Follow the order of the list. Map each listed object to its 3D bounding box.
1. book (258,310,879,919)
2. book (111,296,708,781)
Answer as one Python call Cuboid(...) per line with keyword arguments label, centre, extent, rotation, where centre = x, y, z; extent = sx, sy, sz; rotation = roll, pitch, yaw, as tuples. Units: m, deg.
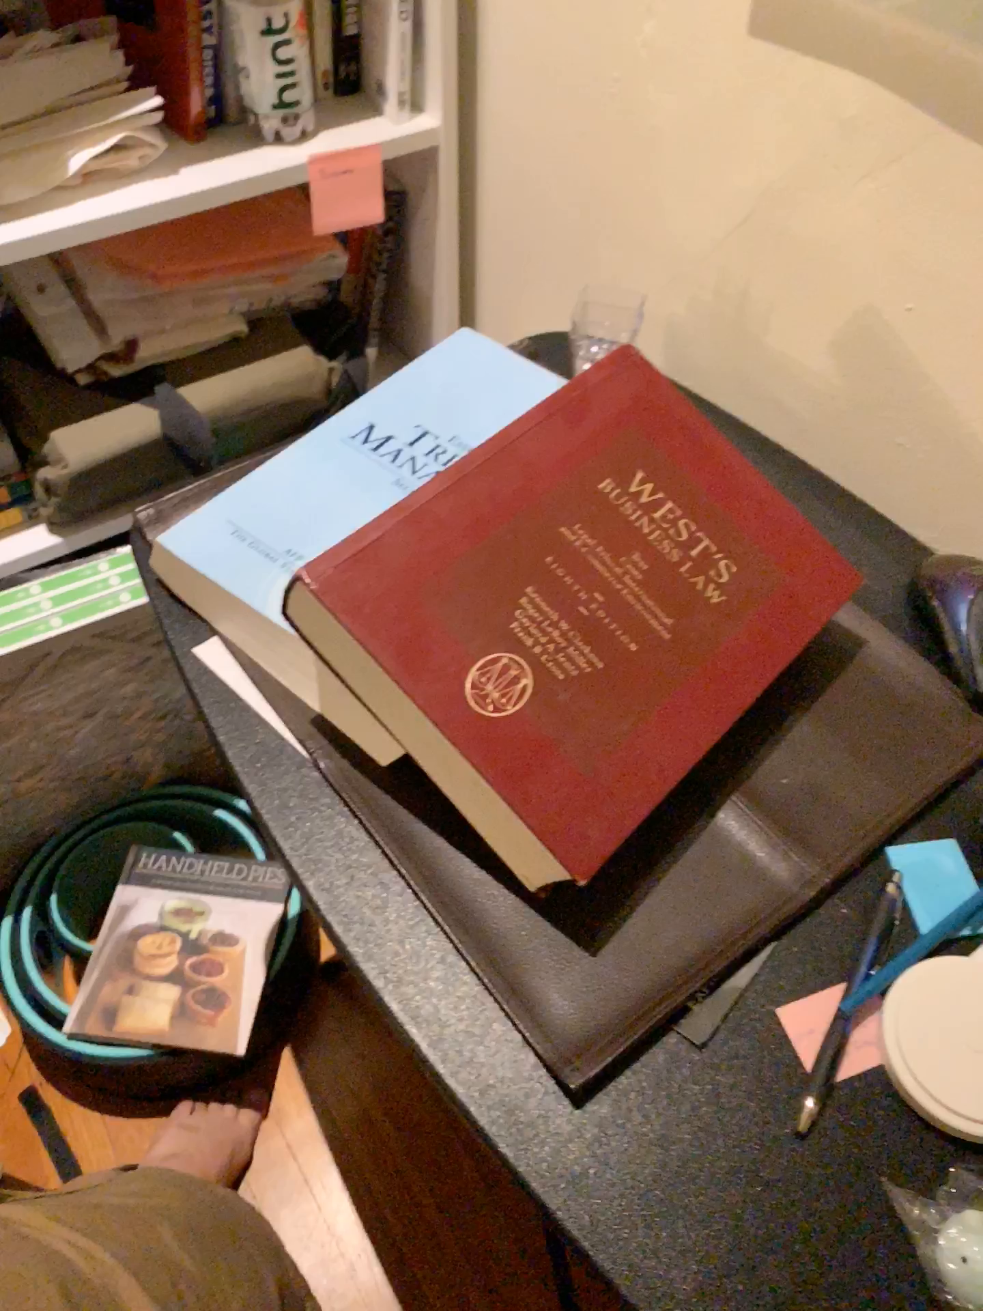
Cuboid(label="book", centre=(0.052, -0.037, 0.541), extent=(0.210, 0.050, 0.271), rotation=(47, 61, 3))
Cuboid(label="book", centre=(-0.043, -0.091, 0.617), extent=(0.221, 0.070, 0.271), rotation=(35, 58, 25))
